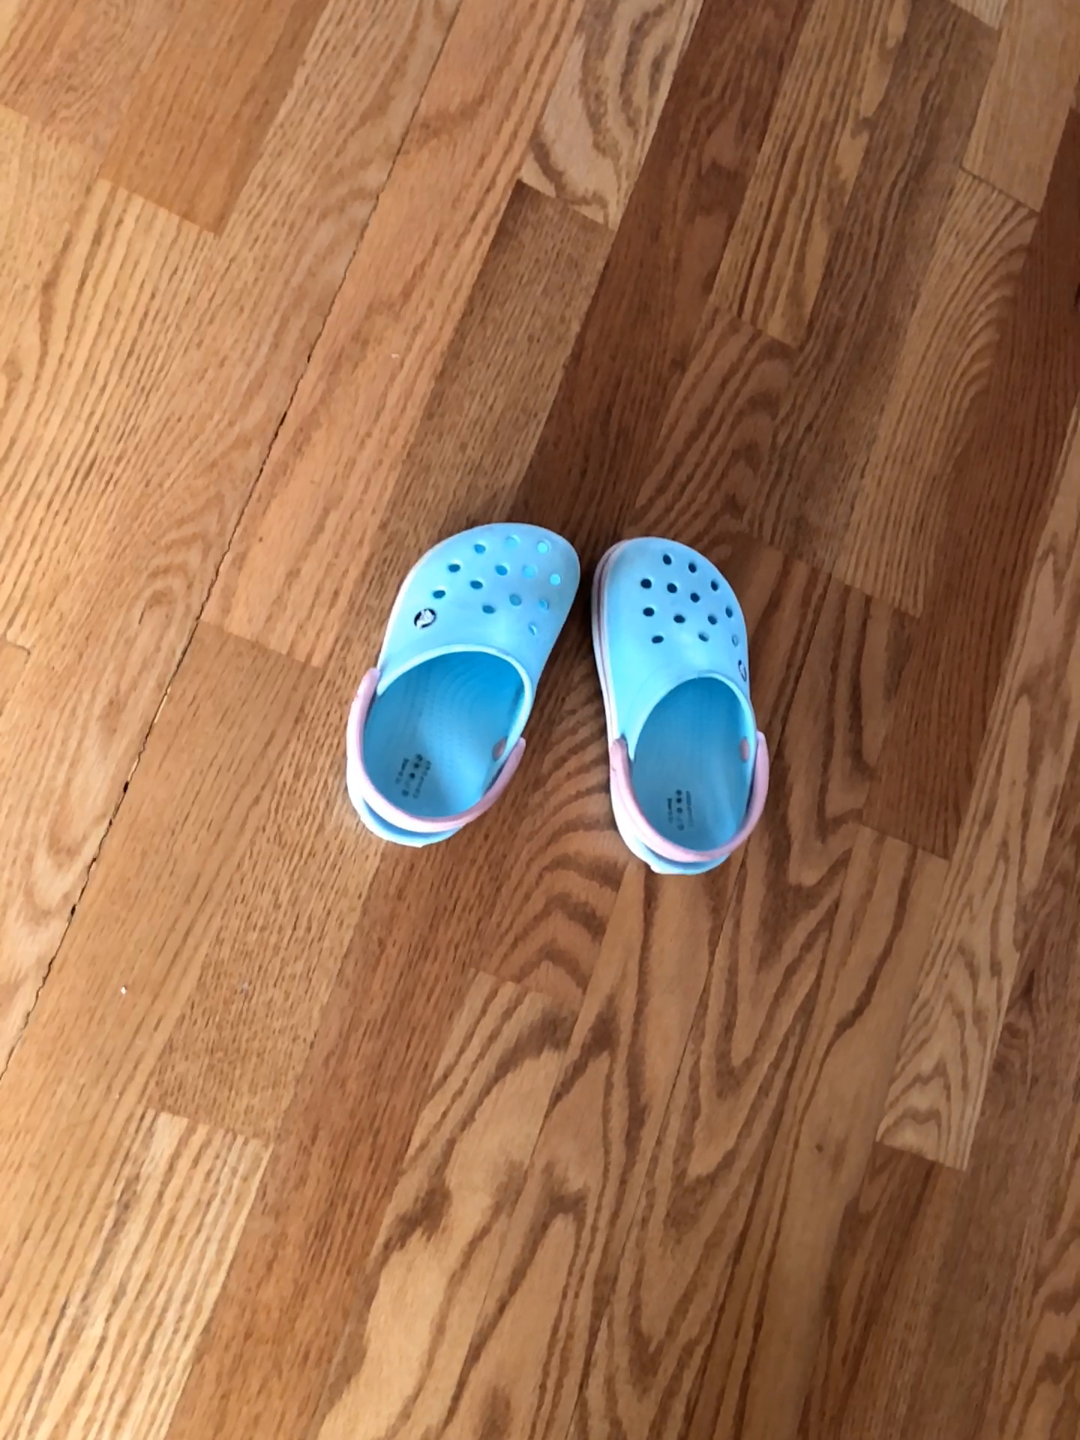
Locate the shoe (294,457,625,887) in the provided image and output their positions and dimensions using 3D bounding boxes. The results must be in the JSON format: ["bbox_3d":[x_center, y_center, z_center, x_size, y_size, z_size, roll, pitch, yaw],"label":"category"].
[{"bbox_3d":[-0.036,-0.019,0.530,0.083,0.057,0.165,24,77,-14],"label":"shoe"}]

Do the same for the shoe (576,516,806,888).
[{"bbox_3d":[0.069,-0.008,0.558,0.083,0.048,0.165,-2,84,-18],"label":"shoe"}]
